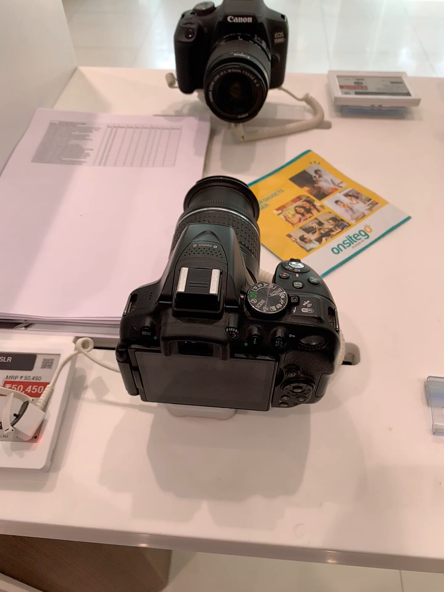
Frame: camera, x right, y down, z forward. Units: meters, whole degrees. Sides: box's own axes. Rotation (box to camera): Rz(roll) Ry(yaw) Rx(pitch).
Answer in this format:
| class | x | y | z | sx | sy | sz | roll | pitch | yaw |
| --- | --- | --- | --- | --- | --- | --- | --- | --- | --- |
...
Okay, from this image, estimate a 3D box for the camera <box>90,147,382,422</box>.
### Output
| class | x | y | z | sx | sy | sz | roll | pitch | yaw |
| --- | --- | --- | --- | --- | --- | --- | --- | --- | --- |
| camera | 0.010 | -0.007 | 0.257 | 0.118 | 0.100 | 0.107 | 4 | 50 | 4 |
